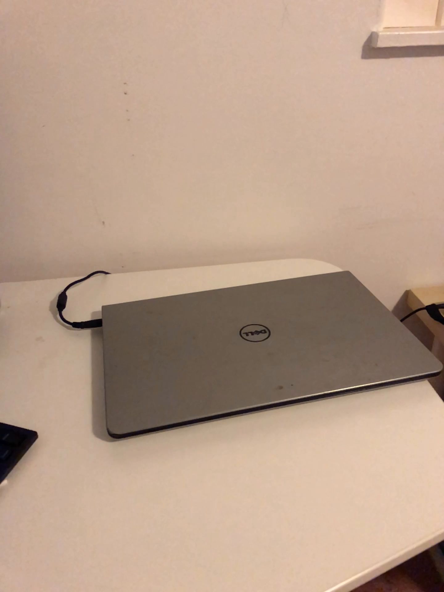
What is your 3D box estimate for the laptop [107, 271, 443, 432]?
[{"bbox_3d":[0.043,0.050,0.630,0.371,0.001,0.248,-9,32,-10],"label":"laptop"}]
